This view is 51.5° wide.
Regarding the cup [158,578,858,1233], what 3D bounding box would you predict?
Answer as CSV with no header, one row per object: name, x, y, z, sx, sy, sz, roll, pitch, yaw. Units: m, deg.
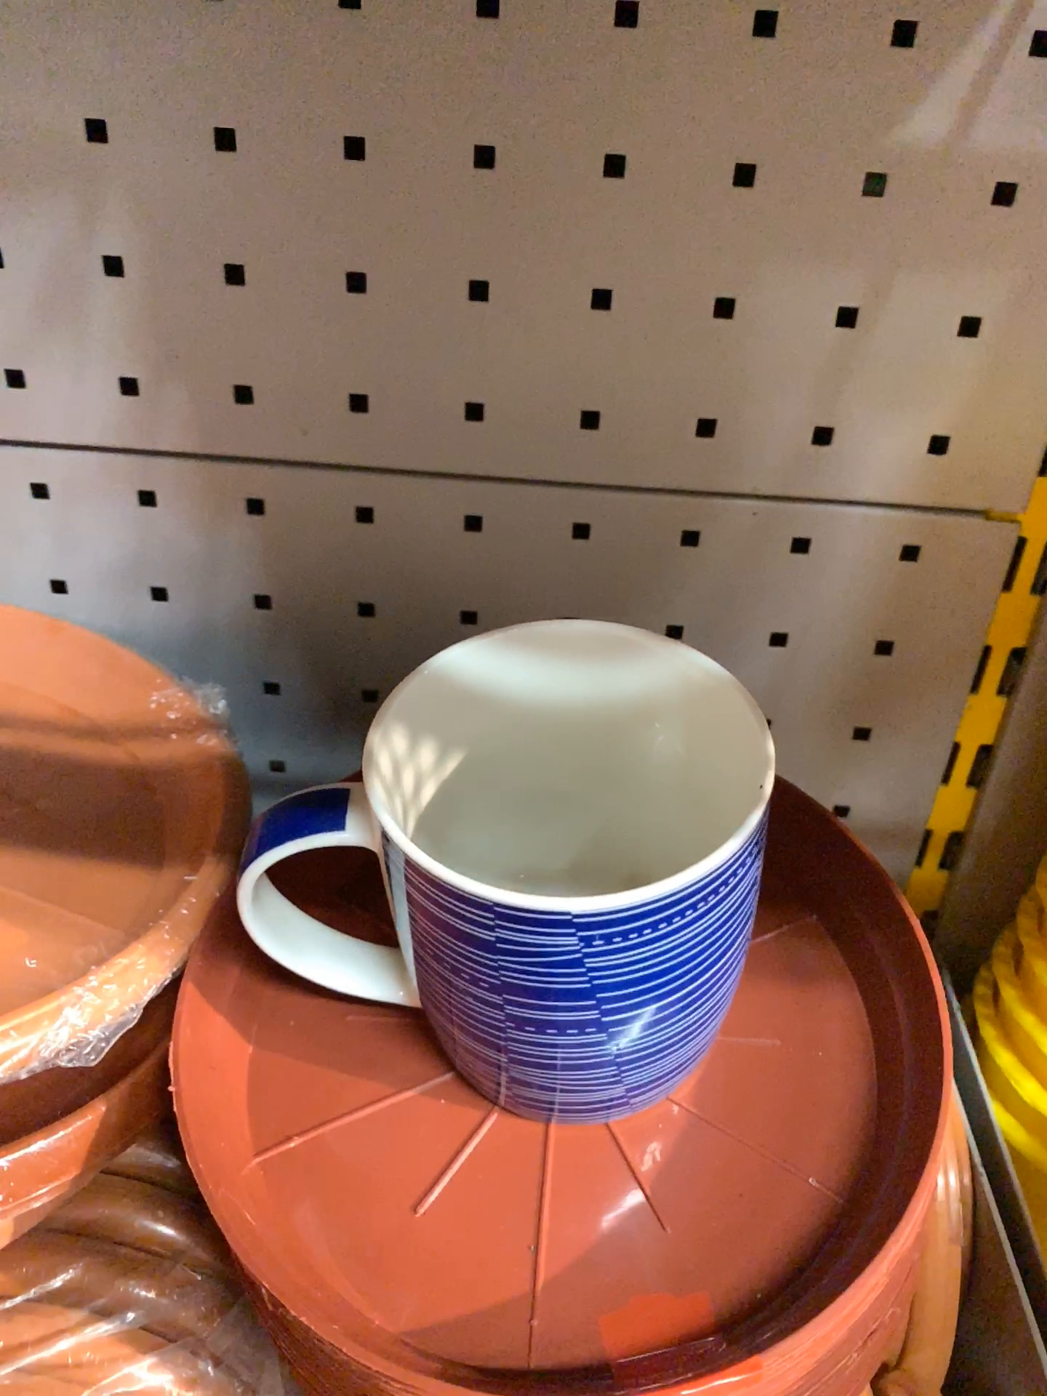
cup,-0.008,0.046,0.268,0.130,0.100,0.100,-7,38,-7
